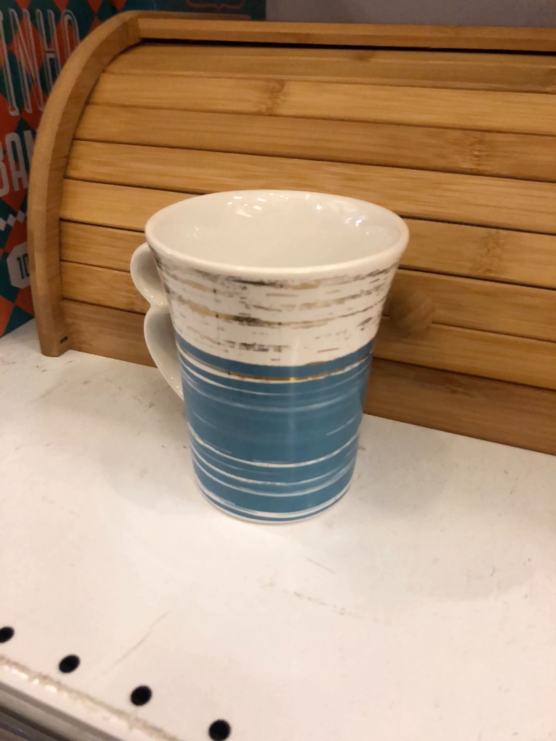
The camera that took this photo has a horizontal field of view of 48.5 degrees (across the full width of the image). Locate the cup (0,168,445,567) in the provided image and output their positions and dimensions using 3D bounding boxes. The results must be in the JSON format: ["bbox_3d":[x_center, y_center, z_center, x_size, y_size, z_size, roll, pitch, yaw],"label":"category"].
[{"bbox_3d":[-0.017,-0.014,0.230,0.120,0.089,0.091,18,35,27],"label":"cup"}]
